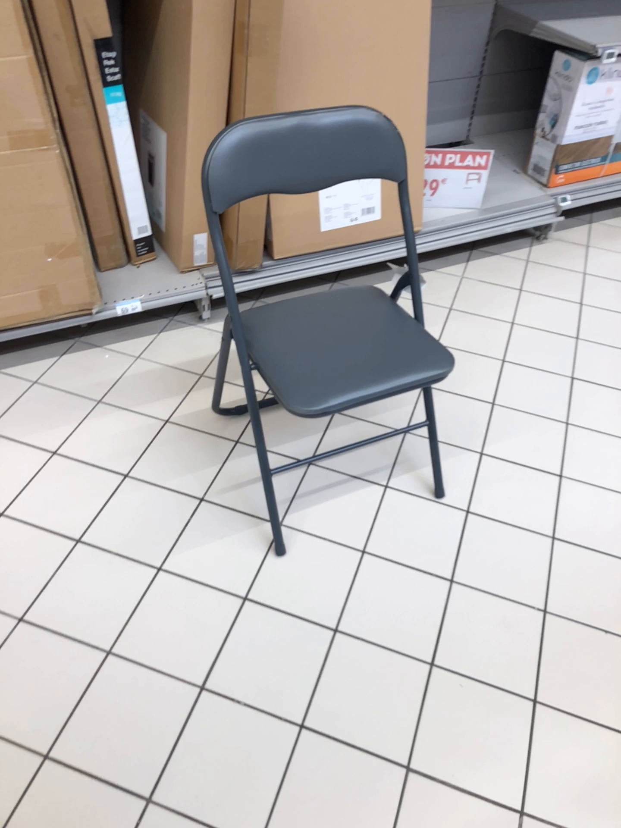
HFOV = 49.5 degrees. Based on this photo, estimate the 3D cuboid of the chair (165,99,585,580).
[{"bbox_3d":[0.070,-0.157,1.424,0.552,0.755,0.501,-17,48,-22],"label":"chair"}]
